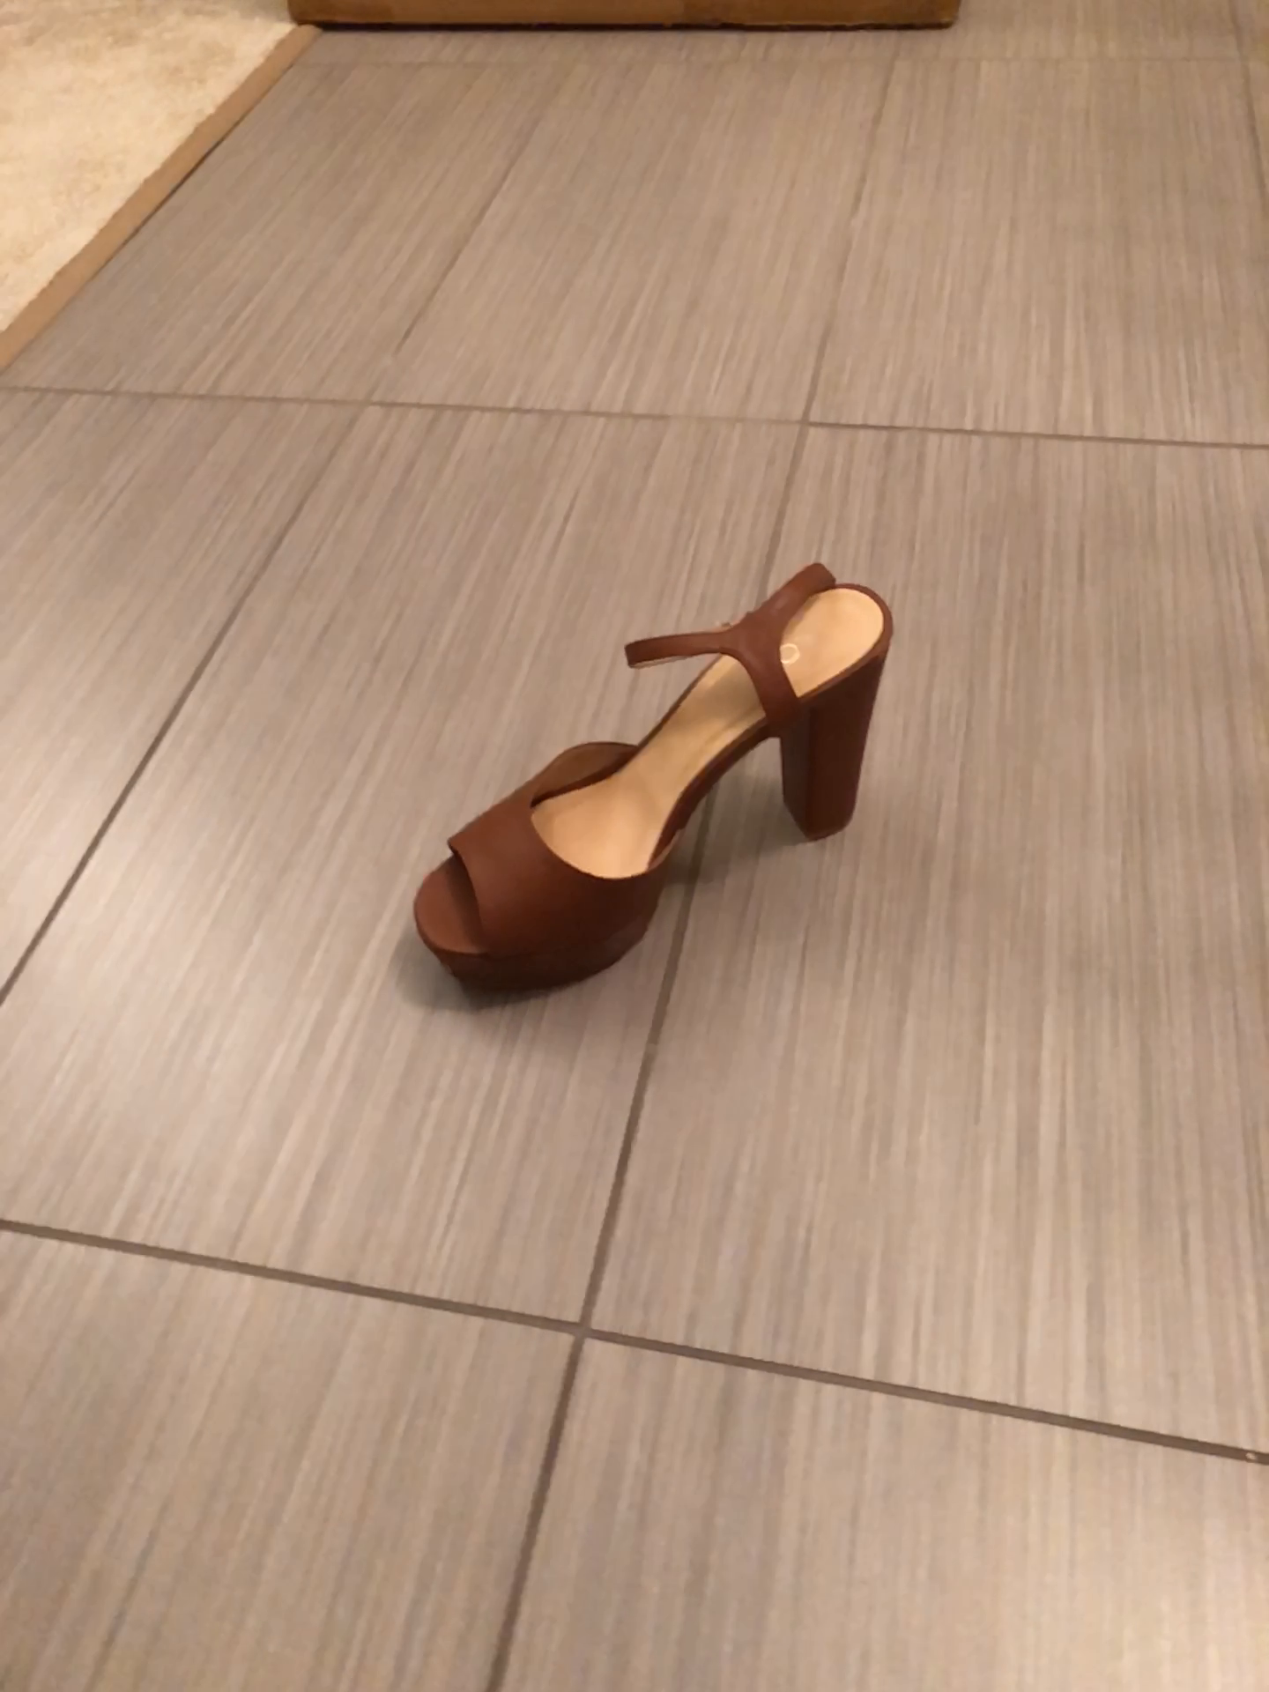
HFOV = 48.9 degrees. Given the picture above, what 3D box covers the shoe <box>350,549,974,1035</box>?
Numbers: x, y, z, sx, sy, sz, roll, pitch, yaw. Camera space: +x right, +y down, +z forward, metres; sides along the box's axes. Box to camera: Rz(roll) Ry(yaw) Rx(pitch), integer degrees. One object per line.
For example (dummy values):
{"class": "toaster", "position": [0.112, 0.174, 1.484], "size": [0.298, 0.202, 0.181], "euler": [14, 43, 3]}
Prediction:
{"class": "shoe", "position": [0.013, -0.026, 0.613], "size": [0.240, 0.090, 0.111], "euler": [-20, 49, -4]}
